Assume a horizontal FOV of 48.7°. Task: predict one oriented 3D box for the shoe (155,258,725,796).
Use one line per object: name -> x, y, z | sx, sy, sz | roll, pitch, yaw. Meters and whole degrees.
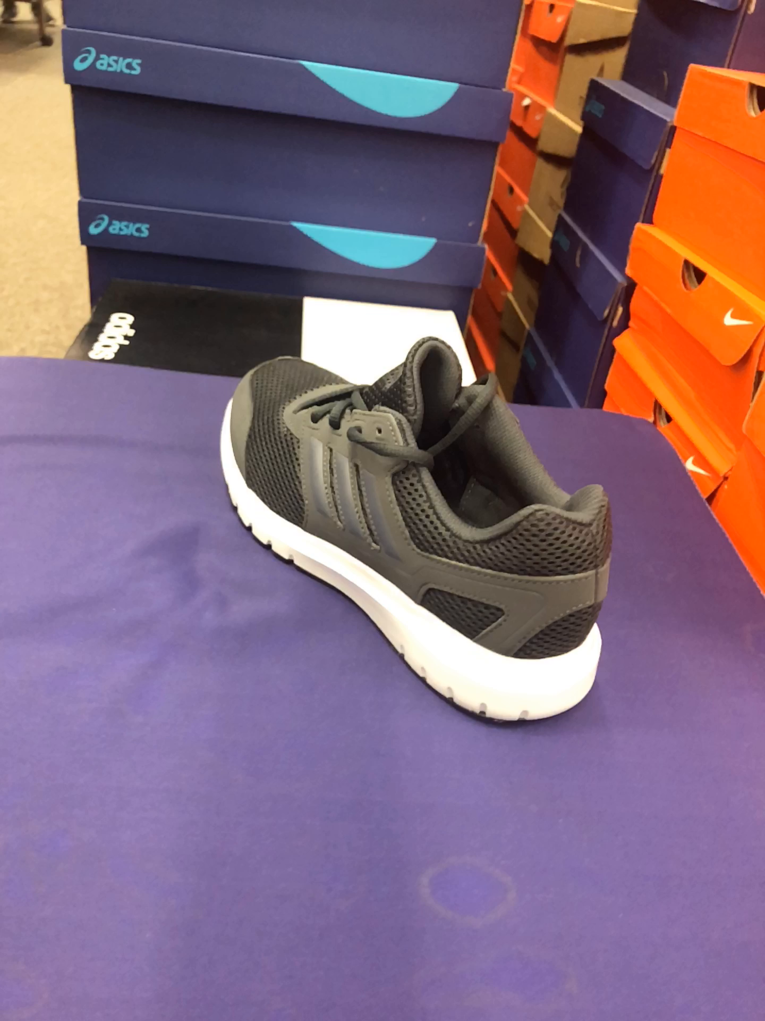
shoe -> 0.000, -0.019, 0.410 | 0.102, 0.106, 0.280 | -18, 42, -34
